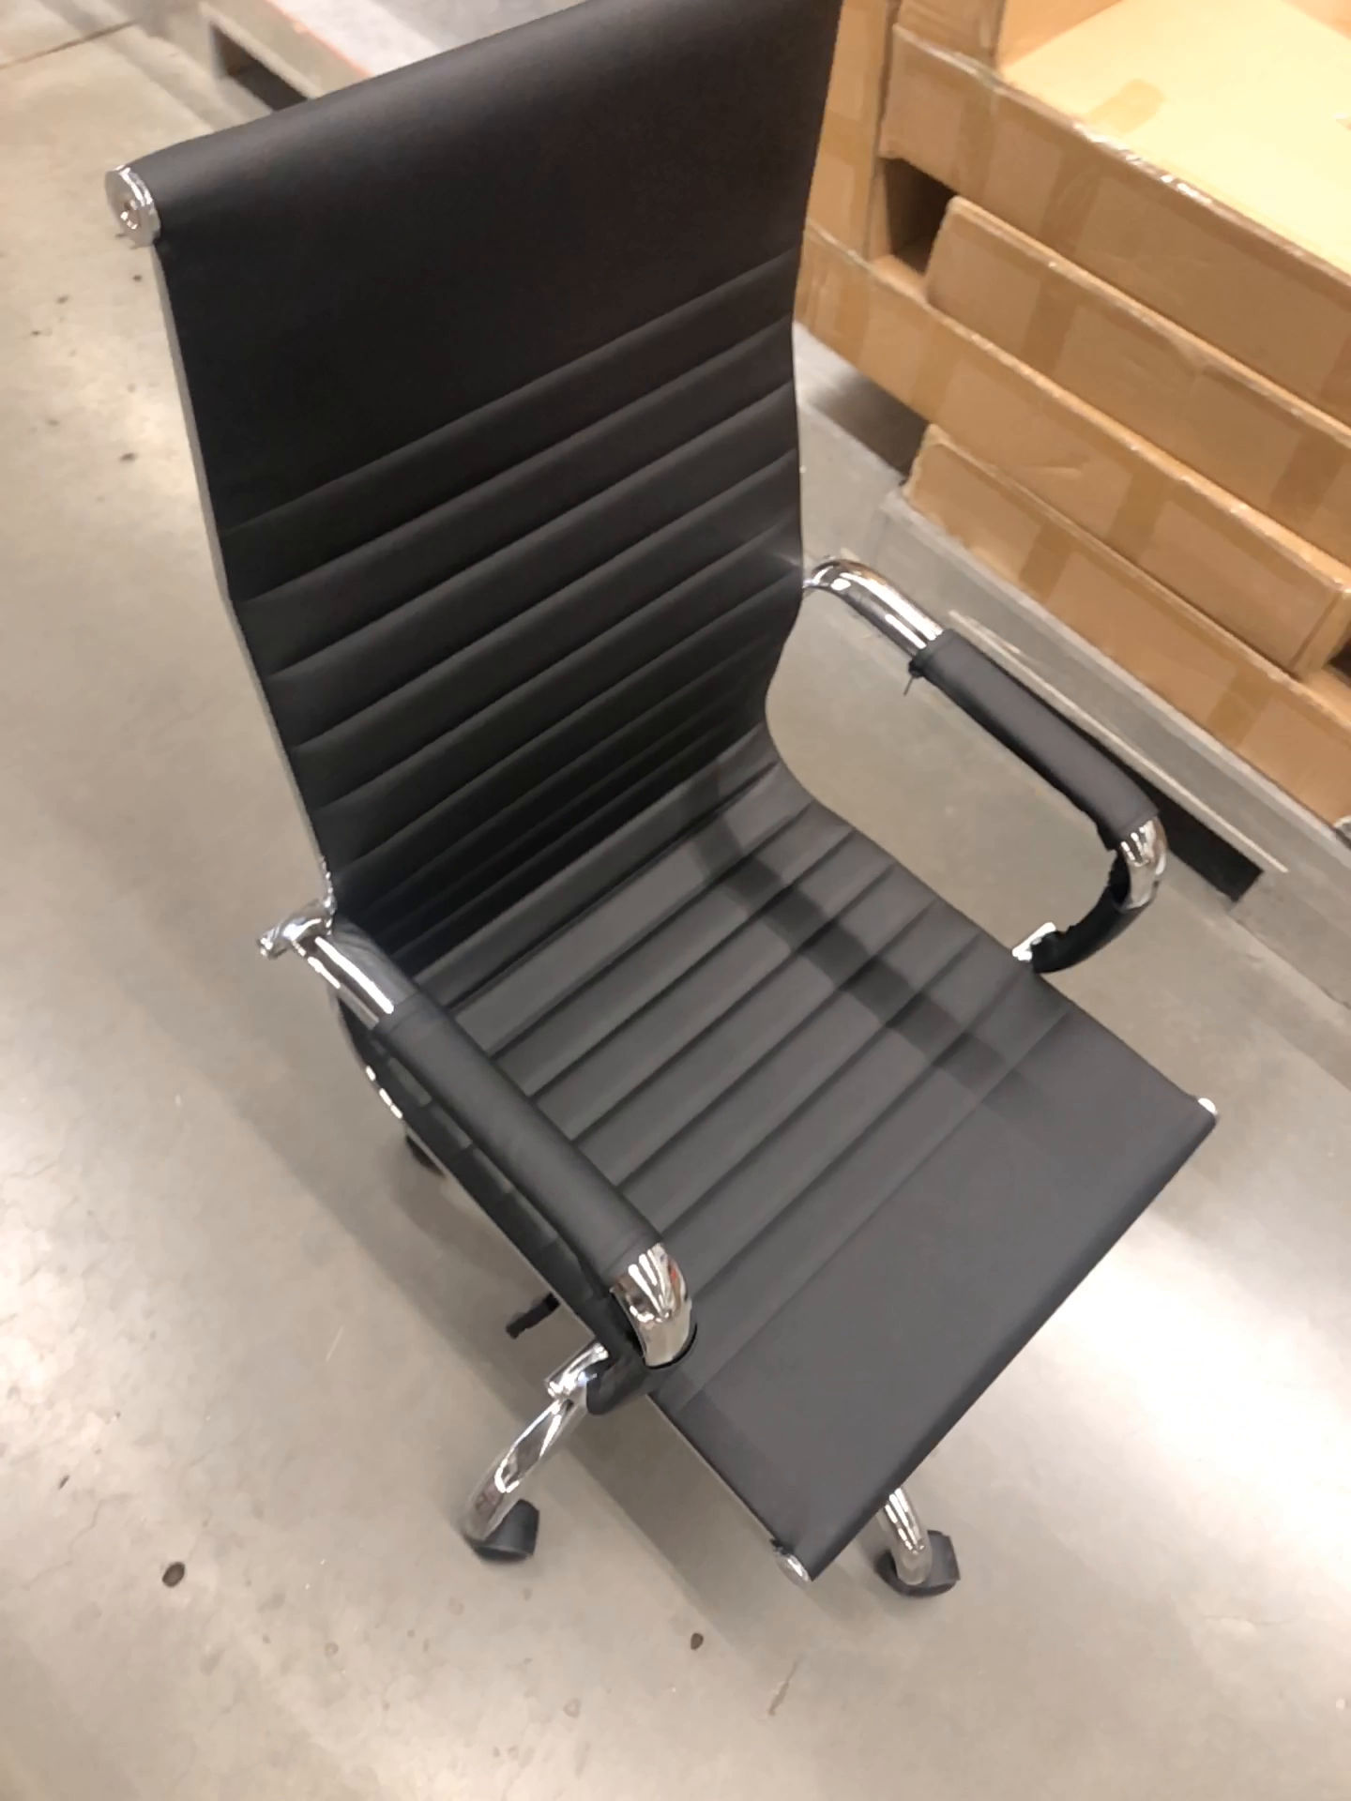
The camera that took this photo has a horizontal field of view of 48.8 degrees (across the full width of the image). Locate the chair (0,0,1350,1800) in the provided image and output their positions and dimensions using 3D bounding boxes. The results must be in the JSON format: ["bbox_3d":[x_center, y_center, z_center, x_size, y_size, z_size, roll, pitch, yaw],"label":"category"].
[{"bbox_3d":[0.108,0.079,1.067,0.672,1.094,0.741,-36,69,-29],"label":"chair"}]
